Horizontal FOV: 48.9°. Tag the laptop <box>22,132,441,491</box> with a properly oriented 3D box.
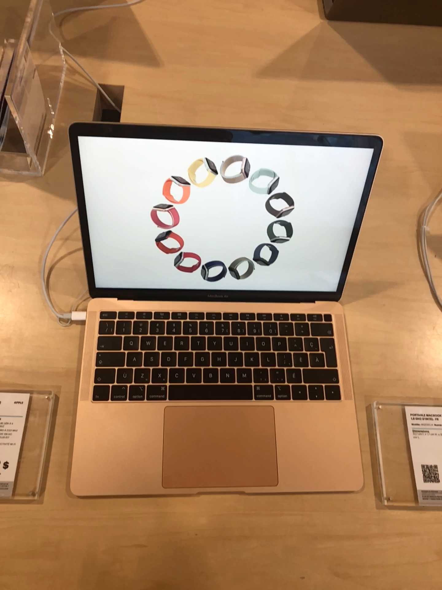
[{"bbox_3d":[0.004,0.026,0.470,0.289,0.168,0.298,1,66,-6],"label":"laptop"}]
